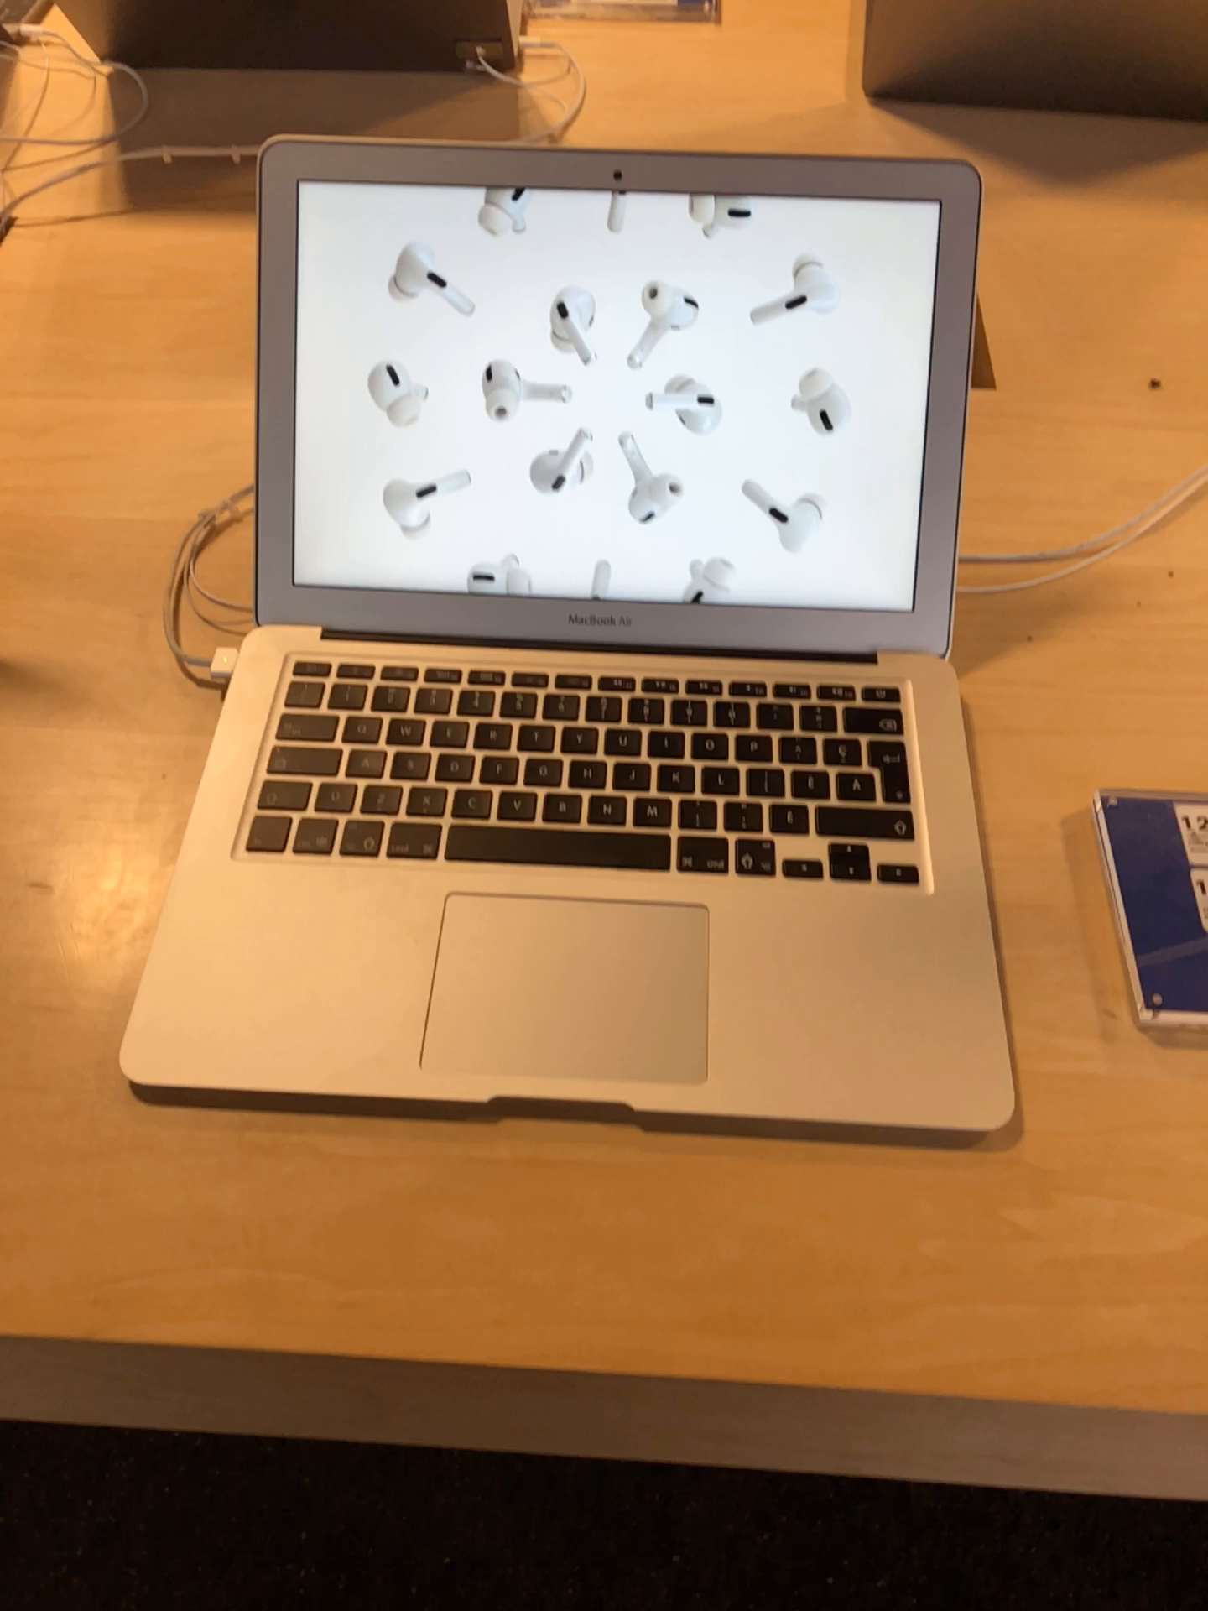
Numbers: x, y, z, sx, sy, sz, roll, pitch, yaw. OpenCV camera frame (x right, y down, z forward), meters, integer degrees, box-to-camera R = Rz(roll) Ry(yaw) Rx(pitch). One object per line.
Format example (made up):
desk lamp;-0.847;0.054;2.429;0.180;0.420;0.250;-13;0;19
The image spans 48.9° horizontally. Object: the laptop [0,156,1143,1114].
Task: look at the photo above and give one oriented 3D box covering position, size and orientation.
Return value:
laptop;-0.005;-0.090;0.525;0.311;0.151;0.372;3;51;2
